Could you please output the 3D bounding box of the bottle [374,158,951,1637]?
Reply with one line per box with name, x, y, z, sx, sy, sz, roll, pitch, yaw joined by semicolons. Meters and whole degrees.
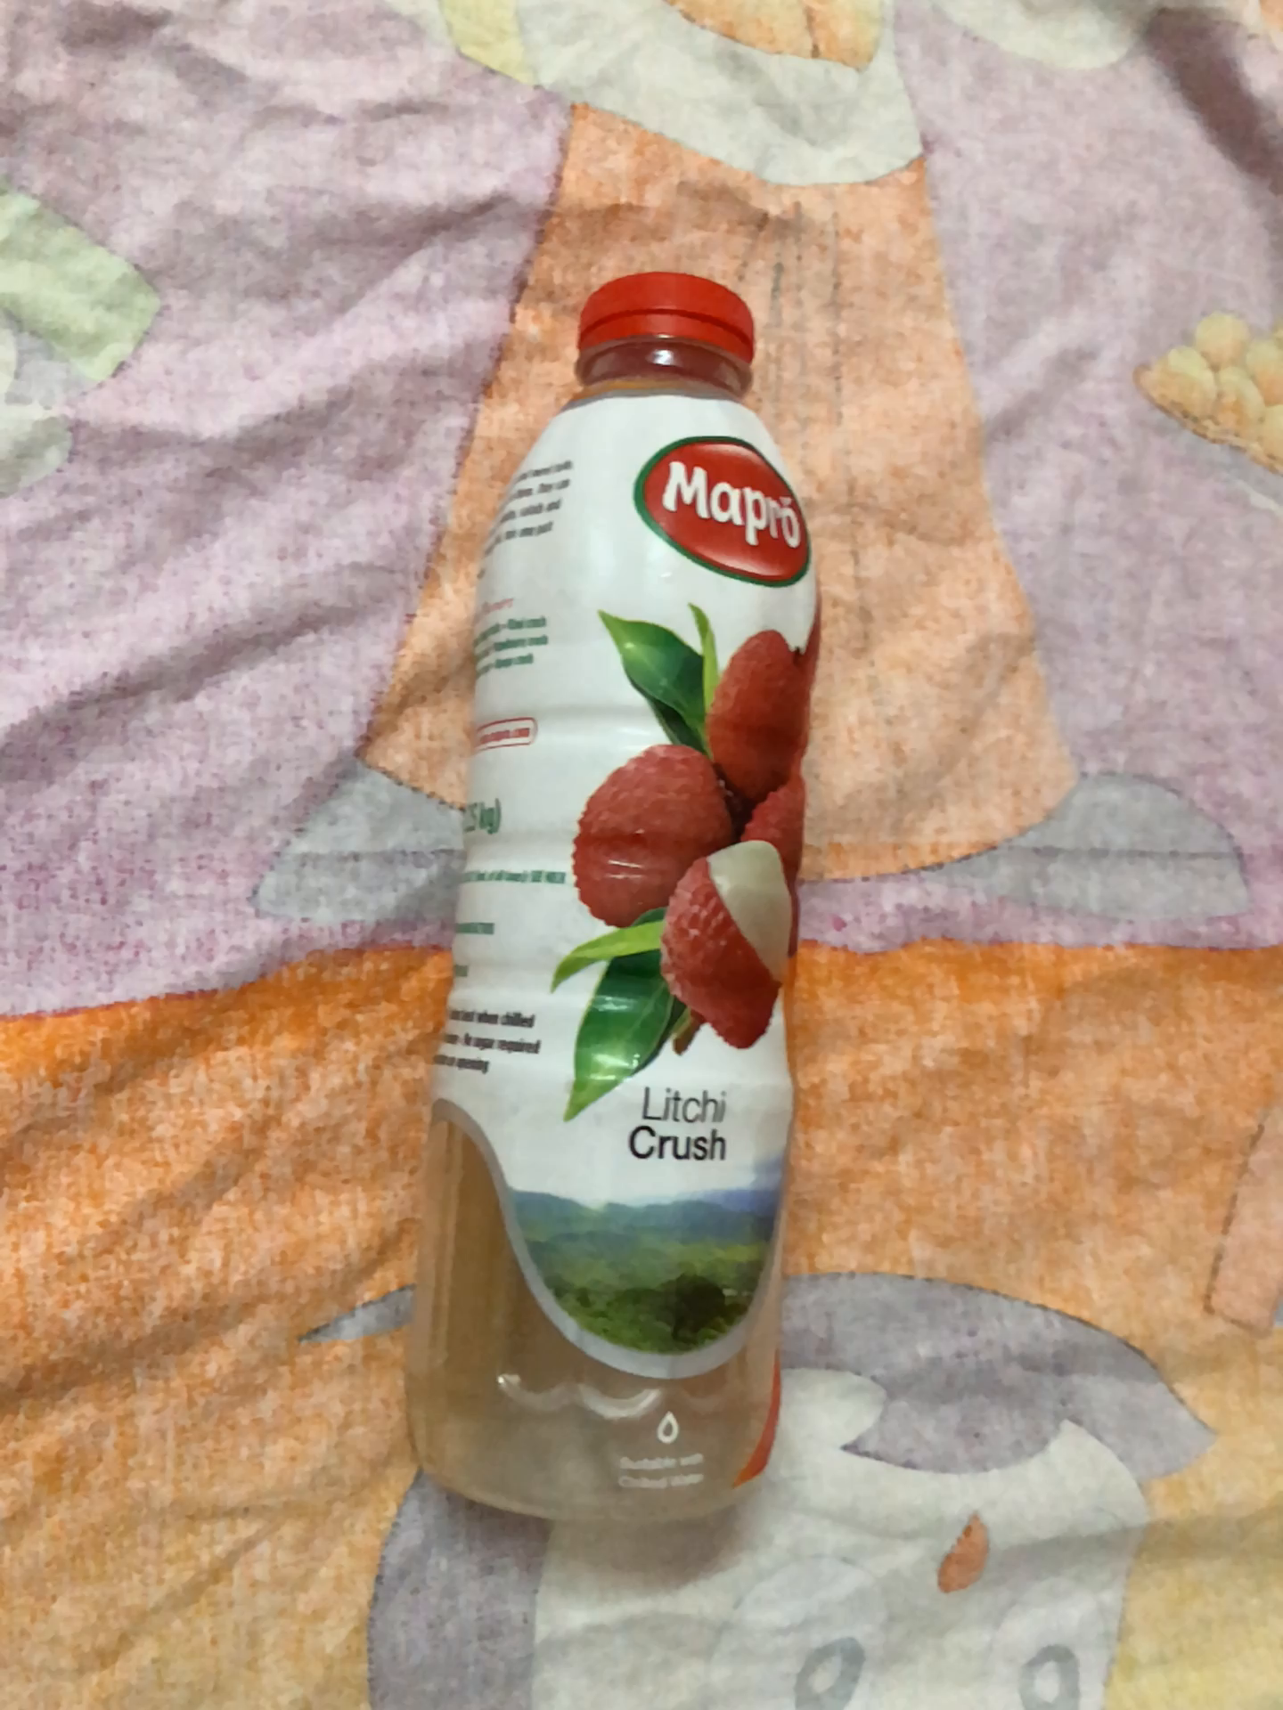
bottle;0.004;0.007;0.295;0.080;0.070;0.260;7;83;-22
